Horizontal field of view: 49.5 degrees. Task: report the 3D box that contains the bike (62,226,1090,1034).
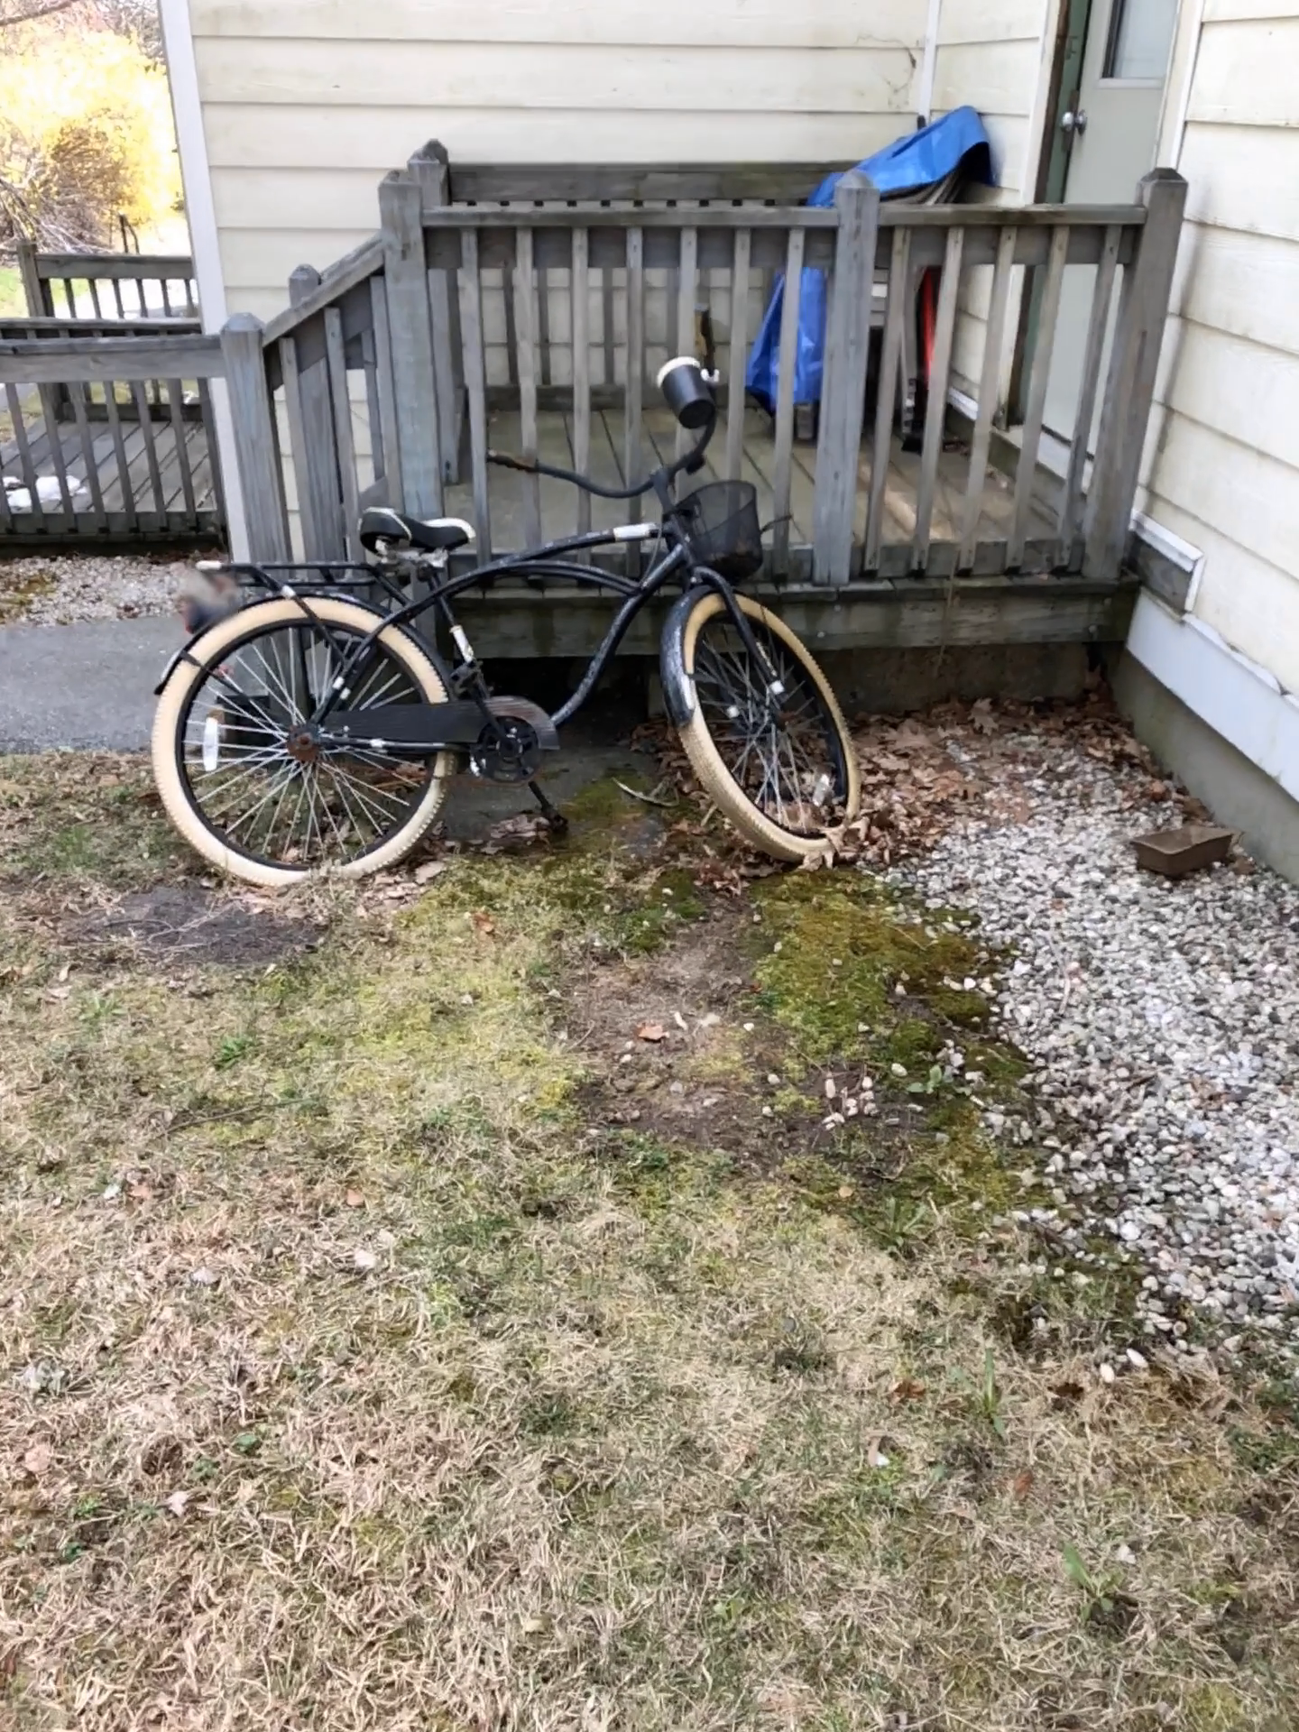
[{"bbox_3d":[-0.234,-0.577,3.121,1.610,1.313,0.943,-11,30,-15],"label":"bike"}]
